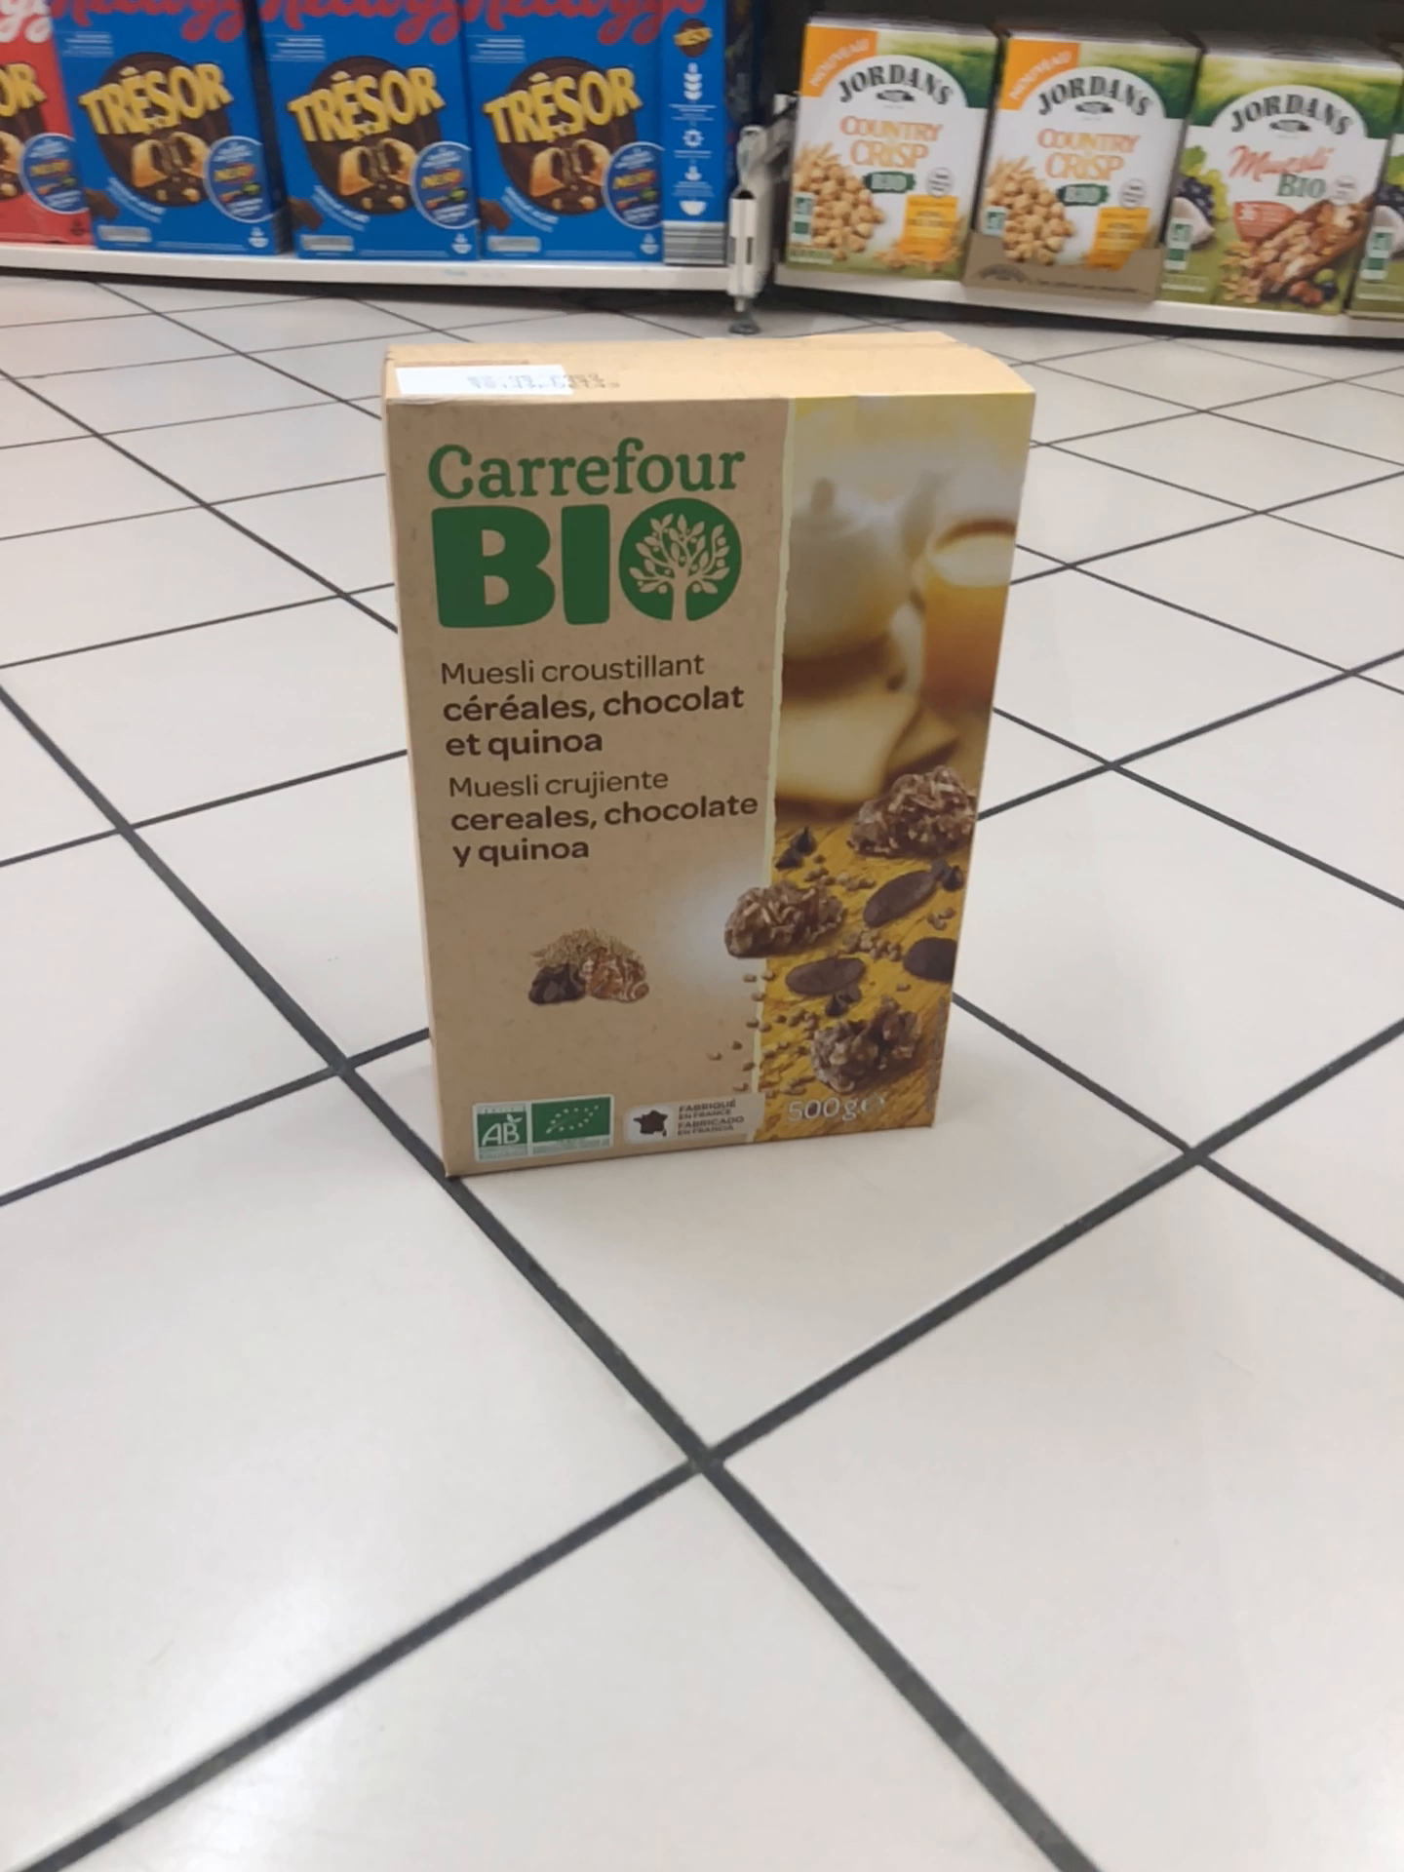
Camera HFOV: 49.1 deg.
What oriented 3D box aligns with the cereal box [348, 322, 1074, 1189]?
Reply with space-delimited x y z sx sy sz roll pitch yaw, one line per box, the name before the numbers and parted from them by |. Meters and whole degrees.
cereal box | -0.004 -0.048 0.442 0.170 0.229 0.070 -5 32 -11
